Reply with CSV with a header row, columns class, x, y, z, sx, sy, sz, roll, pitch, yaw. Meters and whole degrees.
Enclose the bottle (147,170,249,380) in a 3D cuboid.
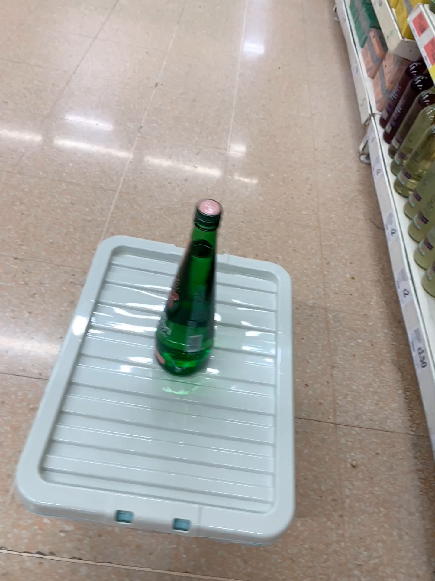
class,x,y,z,sx,sy,sz,roll,pitch,yaw
bottle,-0.034,0.000,0.565,0.085,0.287,0.091,5,51,-7
